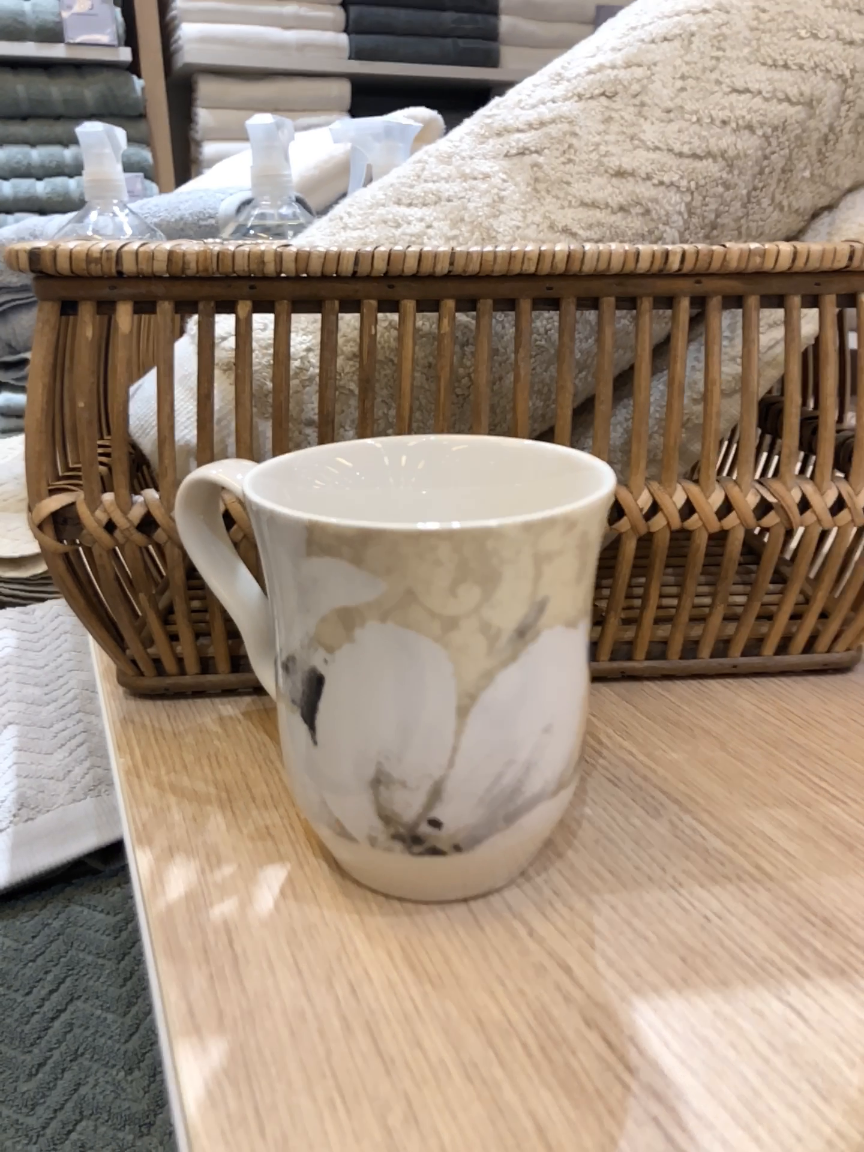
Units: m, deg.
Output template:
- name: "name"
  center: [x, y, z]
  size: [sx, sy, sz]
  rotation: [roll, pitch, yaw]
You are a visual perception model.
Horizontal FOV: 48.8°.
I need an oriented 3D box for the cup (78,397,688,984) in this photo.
- name: "cup"
  center: [-0.015, 0.014, 0.259]
  size: [0.130, 0.099, 0.090]
  rotation: [16, 26, 39]
